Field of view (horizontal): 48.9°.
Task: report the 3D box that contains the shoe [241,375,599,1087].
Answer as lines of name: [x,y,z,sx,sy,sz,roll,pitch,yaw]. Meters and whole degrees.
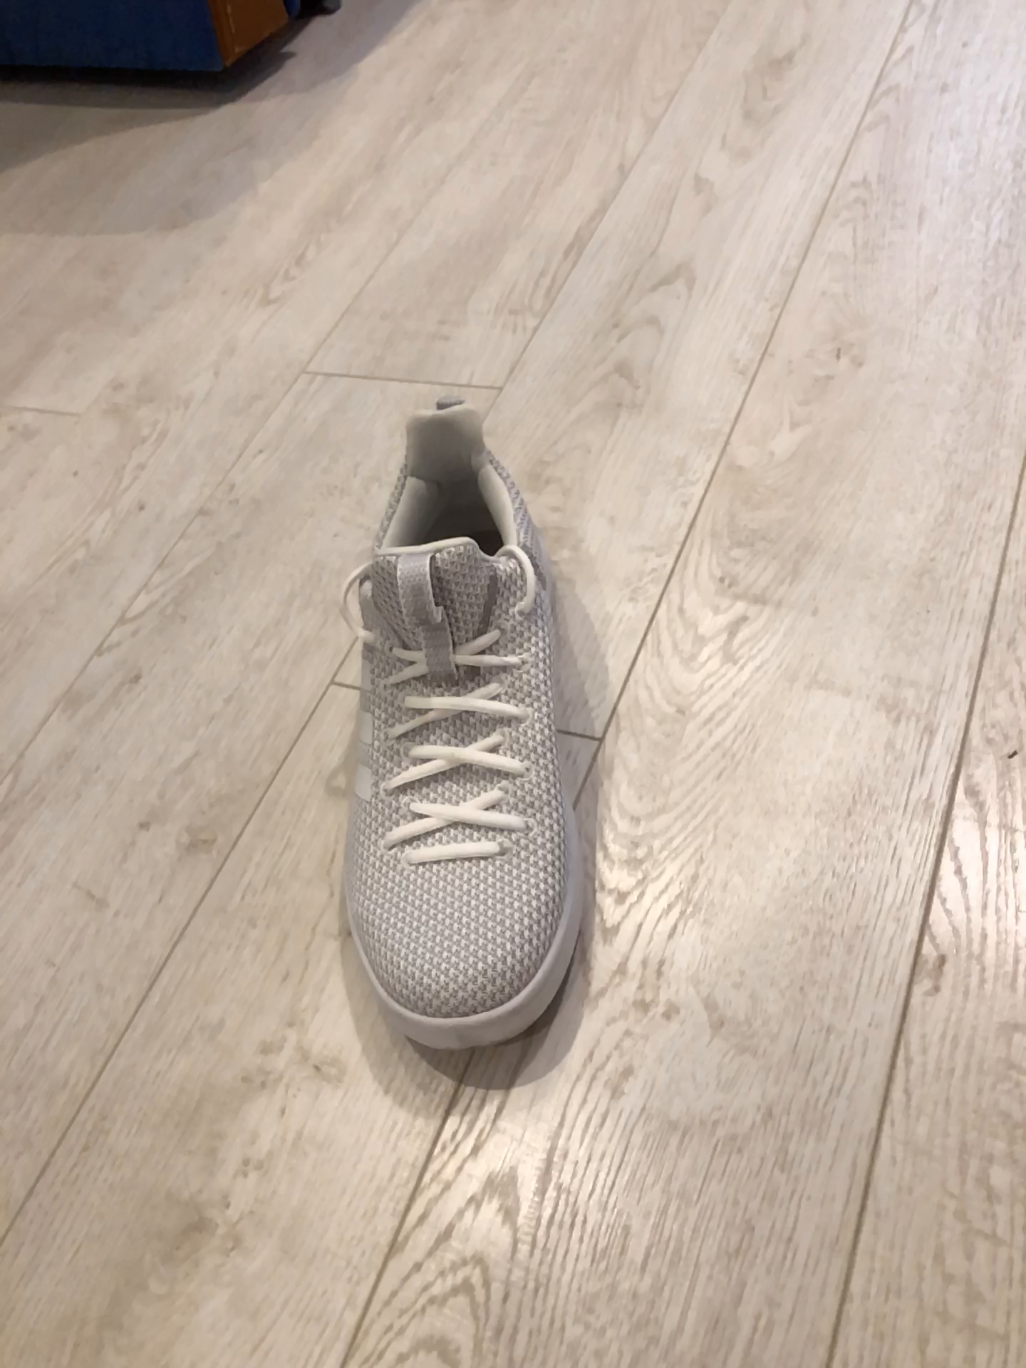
shoe: [-0.028,0.008,0.494,0.100,0.109,0.292,-8,51,10]
